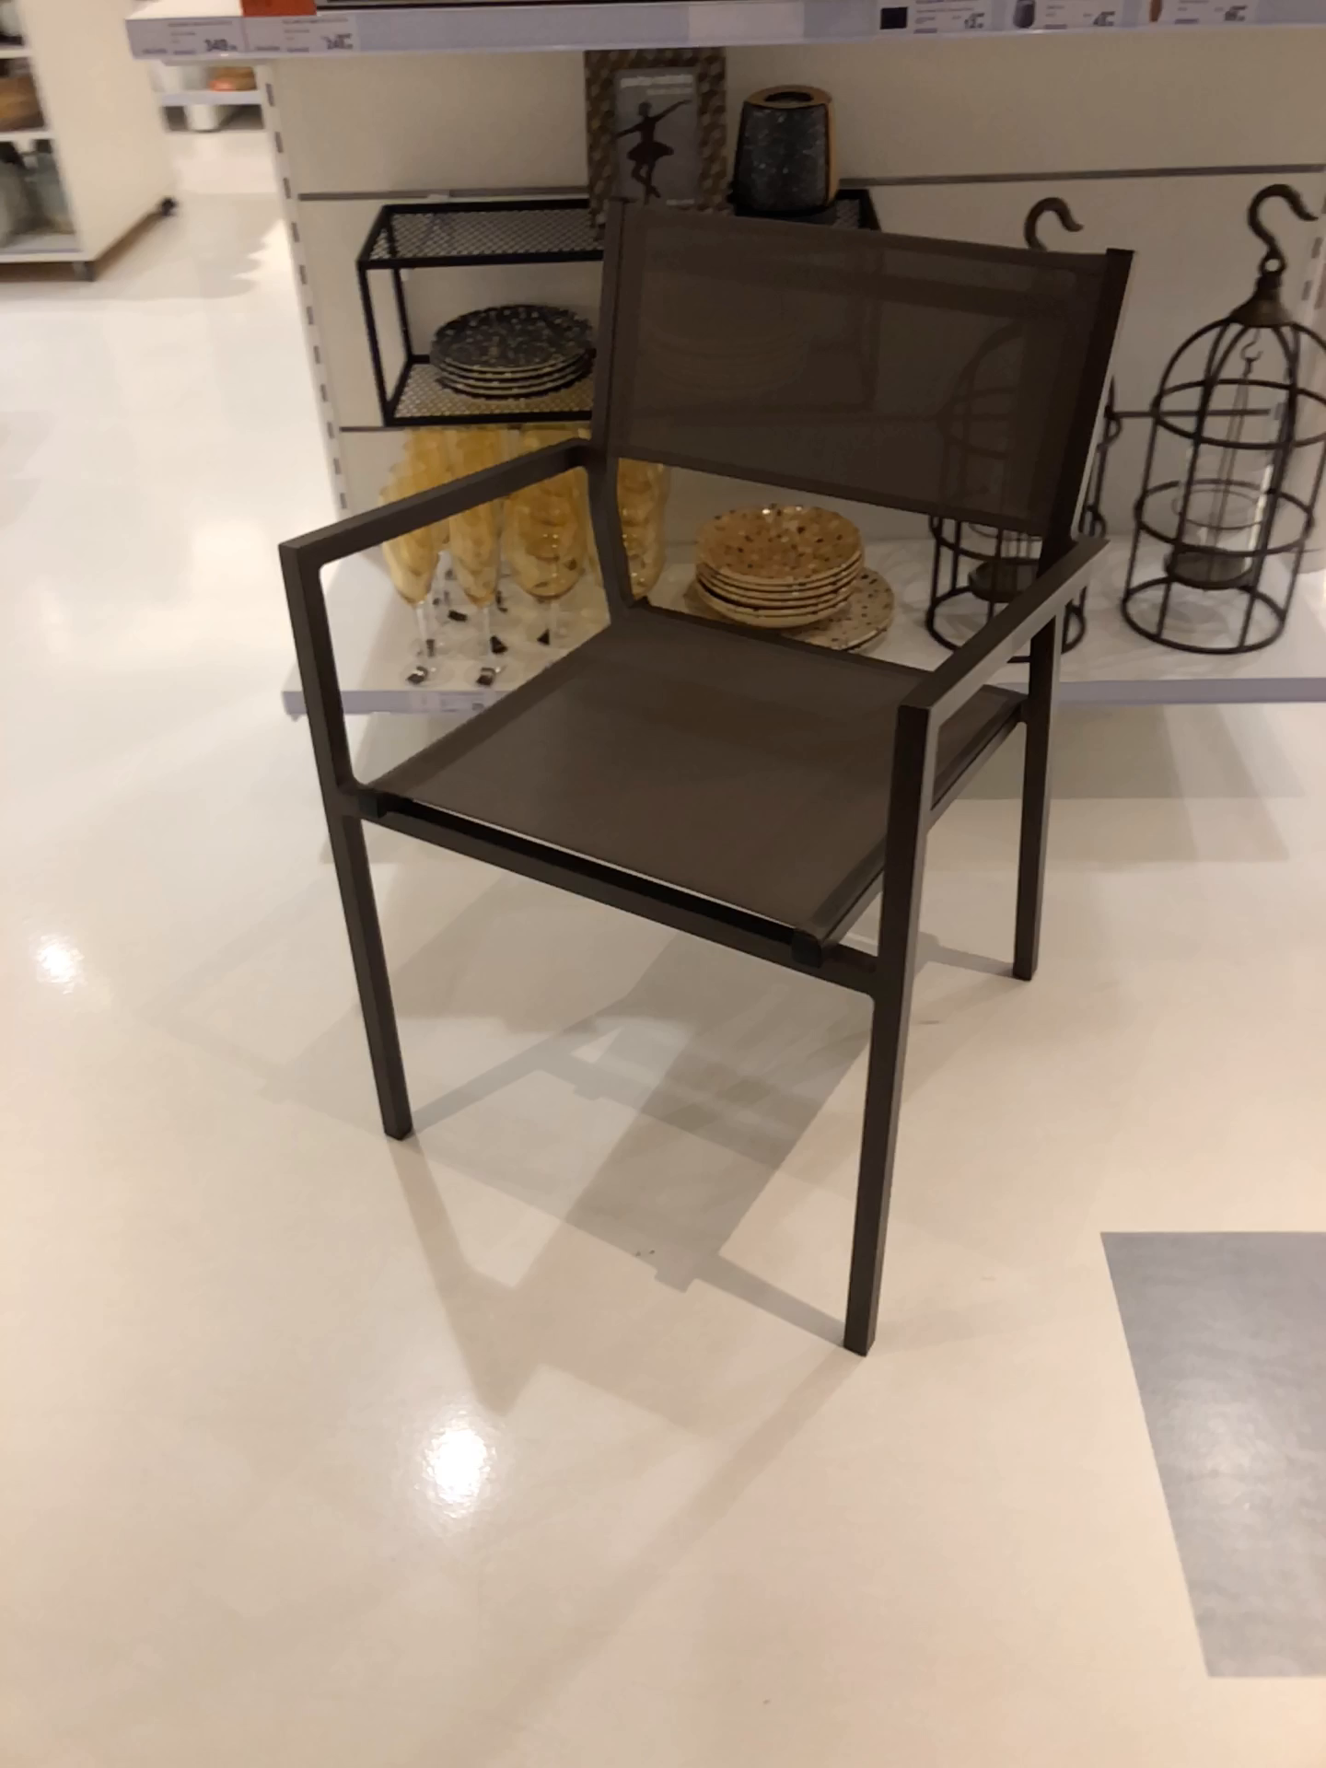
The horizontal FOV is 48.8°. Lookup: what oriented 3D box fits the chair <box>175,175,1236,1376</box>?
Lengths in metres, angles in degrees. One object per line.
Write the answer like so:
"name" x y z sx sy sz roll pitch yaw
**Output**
"chair" 0.072 -0.131 1.309 0.571 0.763 0.584 18 43 25
